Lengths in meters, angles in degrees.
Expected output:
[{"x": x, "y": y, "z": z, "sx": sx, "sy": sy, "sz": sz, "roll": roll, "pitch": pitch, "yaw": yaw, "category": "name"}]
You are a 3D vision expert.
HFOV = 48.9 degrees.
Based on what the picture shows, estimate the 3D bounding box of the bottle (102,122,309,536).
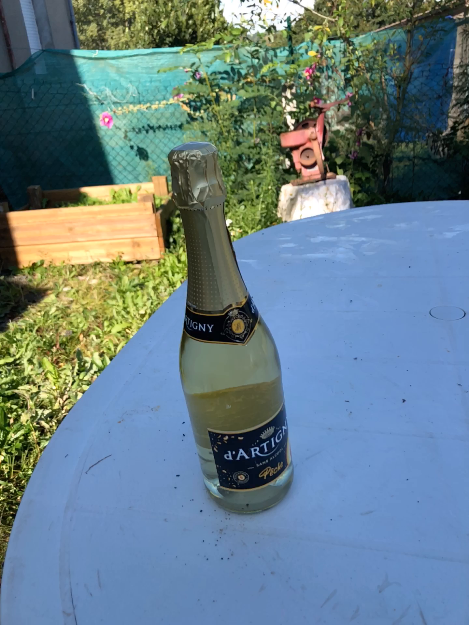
[{"x": -0.013, "y": 0.019, "z": 0.403, "sx": 0.090, "sy": 0.298, "sz": 0.090, "roll": -6, "pitch": 27, "yaw": 3, "category": "bottle"}]
